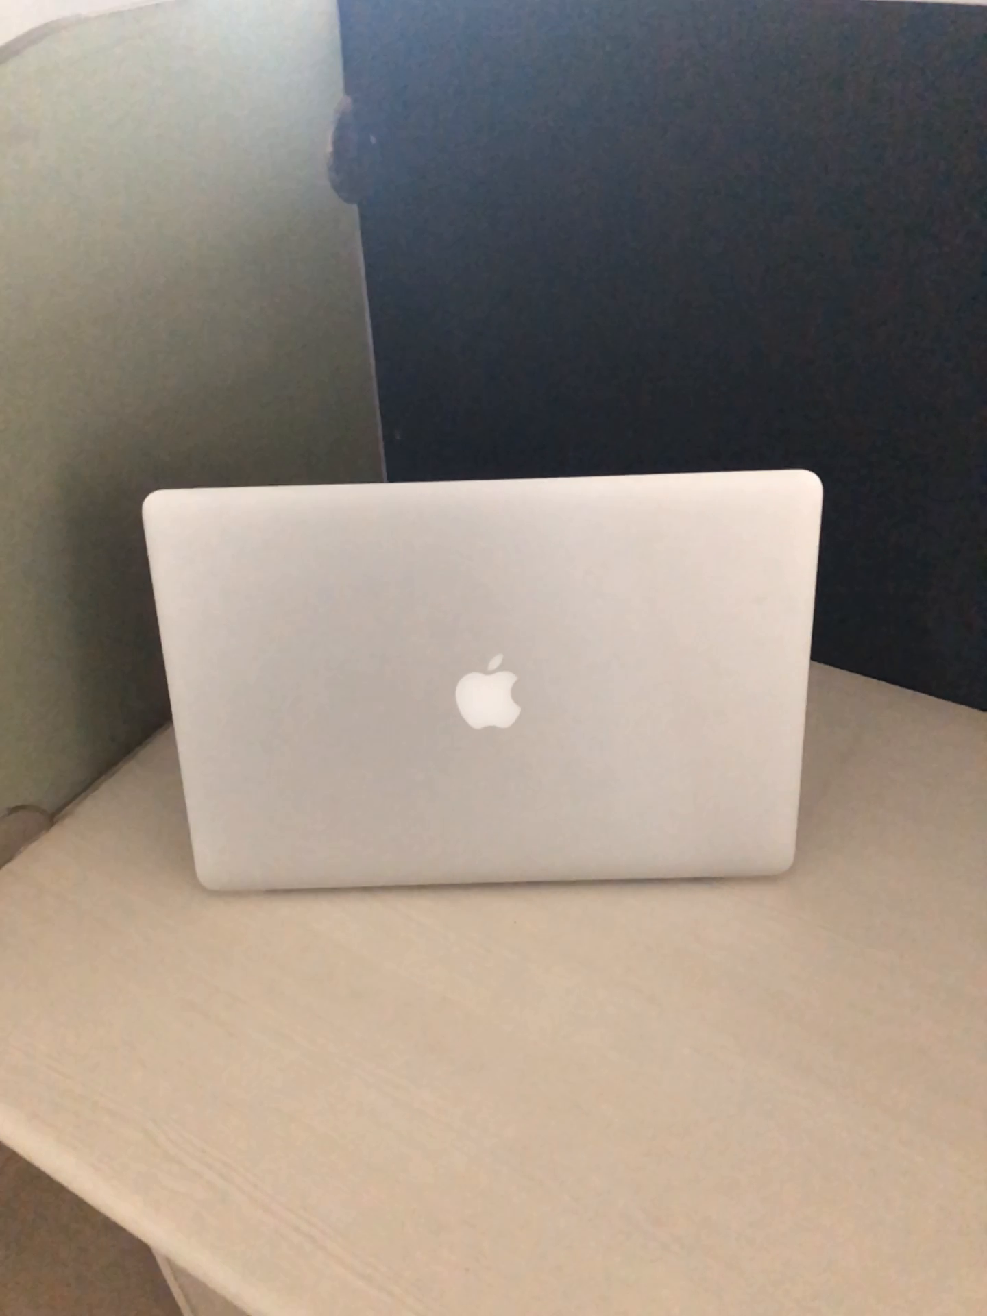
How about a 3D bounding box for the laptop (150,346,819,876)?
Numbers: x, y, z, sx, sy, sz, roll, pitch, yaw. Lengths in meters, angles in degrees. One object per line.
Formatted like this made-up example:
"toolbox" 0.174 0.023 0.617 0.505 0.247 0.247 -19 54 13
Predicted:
"laptop" -0.002 -0.036 0.689 0.321 0.232 0.245 -2 37 1
